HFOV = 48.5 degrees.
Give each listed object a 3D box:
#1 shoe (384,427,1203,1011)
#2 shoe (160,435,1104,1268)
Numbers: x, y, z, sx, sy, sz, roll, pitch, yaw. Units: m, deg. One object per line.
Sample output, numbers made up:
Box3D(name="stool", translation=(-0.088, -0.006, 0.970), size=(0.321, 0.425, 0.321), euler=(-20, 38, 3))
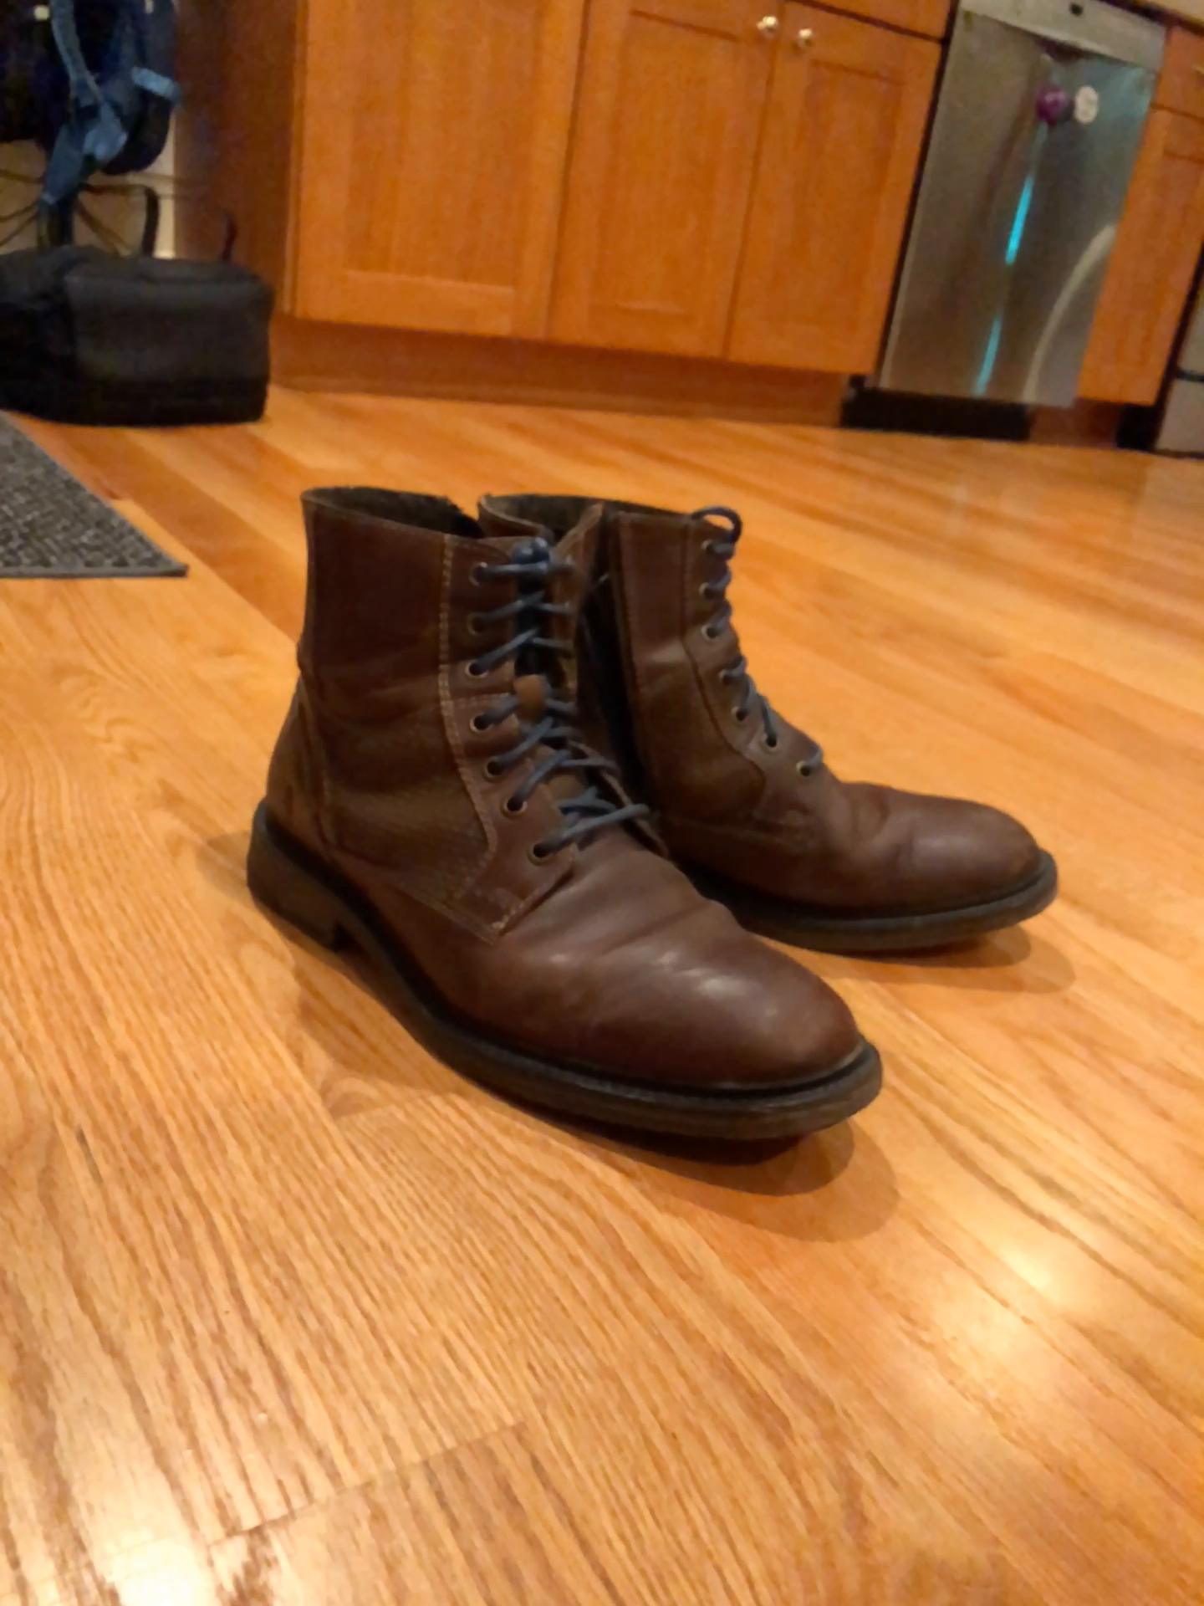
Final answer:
Box3D(name="shoe", translation=(0.076, -0.042, 0.577), size=(0.303, 0.176, 0.129), euler=(9, 22, 0))
Box3D(name="shoe", translation=(-0.016, -0.013, 0.471), size=(0.310, 0.168, 0.113), euler=(25, 27, 34))
